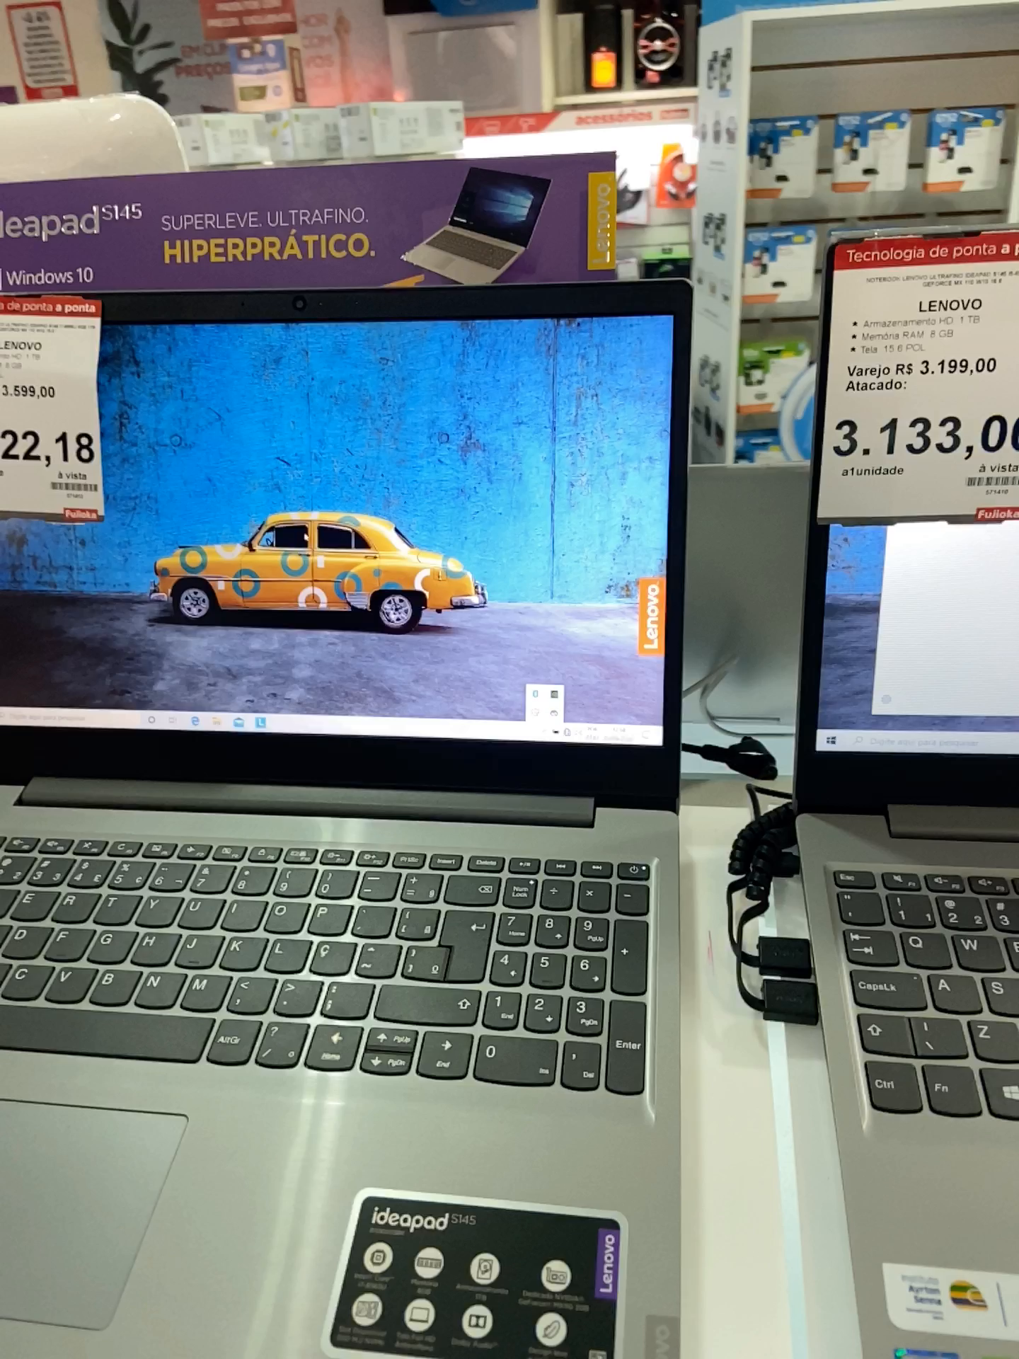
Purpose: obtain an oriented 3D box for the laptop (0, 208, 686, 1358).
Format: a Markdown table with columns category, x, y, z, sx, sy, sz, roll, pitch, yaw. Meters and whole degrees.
| category | x | y | z | sx | sy | sz | roll | pitch | yaw |
| --- | --- | --- | --- | --- | --- | --- | --- | --- | --- |
| laptop | -0.110 | -0.005 | 0.394 | 0.346 | 0.209 | 0.367 | 1 | 35 | 9 |
